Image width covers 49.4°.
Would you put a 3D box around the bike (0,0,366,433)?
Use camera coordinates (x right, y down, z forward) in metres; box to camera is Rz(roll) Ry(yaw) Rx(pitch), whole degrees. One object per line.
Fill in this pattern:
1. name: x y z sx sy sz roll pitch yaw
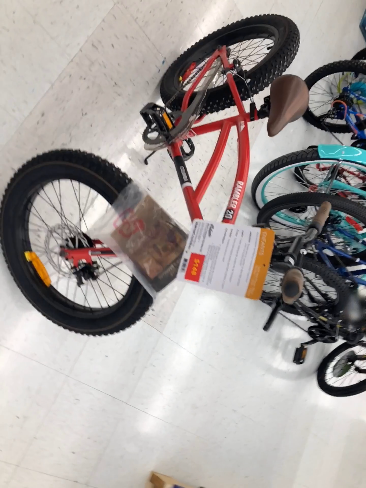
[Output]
1. bike: 0.100 -0.310 1.262 0.610 0.967 1.359 42 67 -36
